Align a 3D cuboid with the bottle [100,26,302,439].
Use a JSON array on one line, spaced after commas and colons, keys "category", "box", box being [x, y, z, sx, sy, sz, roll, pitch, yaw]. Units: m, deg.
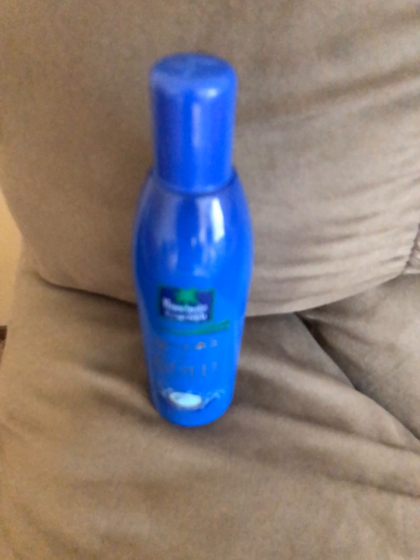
[{"category": "bottle", "box": [-0.005, 0.000, 0.194, 0.050, 0.180, 0.050, 2, 45, -2]}]
